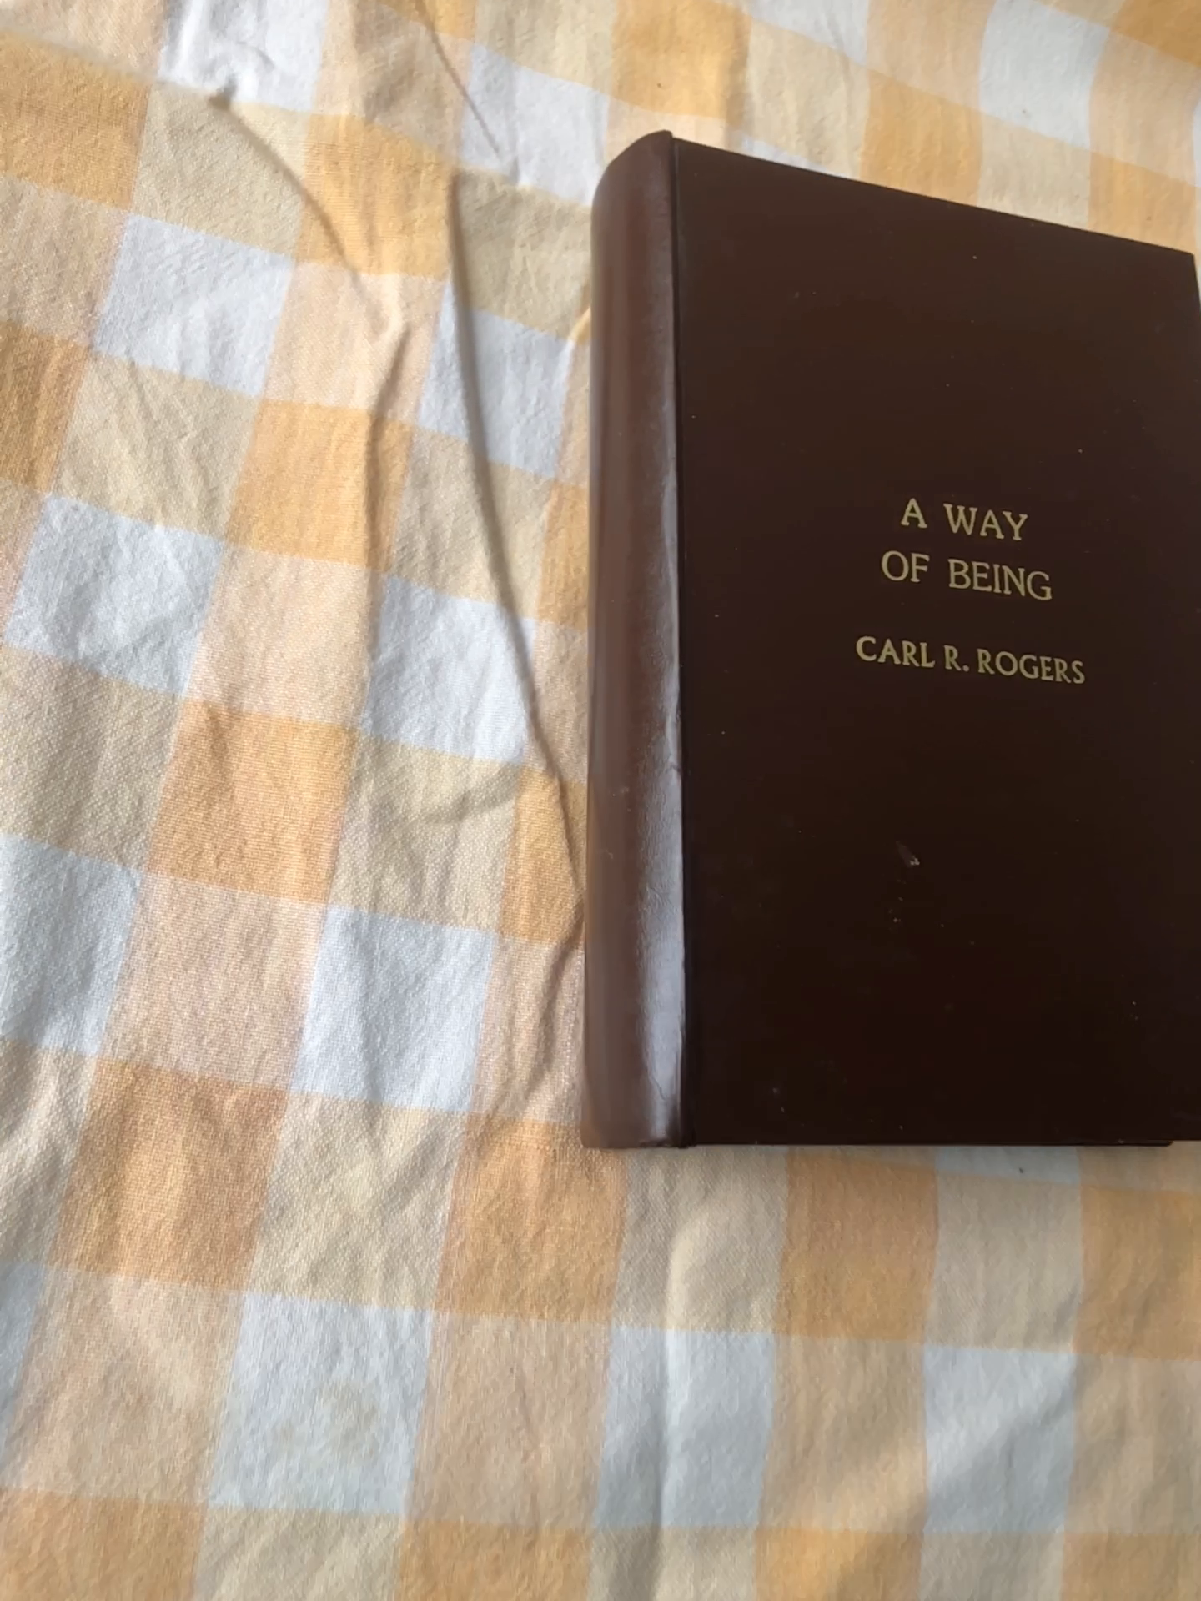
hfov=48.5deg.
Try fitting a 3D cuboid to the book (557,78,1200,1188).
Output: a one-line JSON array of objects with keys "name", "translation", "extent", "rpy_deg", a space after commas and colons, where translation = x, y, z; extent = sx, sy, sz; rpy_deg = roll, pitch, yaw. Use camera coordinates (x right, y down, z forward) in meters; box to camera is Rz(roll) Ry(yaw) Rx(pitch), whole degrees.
[{"name": "book", "translation": [0.067, -0.029, 0.285], "extent": [0.140, 0.060, 0.210], "rpy_deg": [4, 75, -17]}]
